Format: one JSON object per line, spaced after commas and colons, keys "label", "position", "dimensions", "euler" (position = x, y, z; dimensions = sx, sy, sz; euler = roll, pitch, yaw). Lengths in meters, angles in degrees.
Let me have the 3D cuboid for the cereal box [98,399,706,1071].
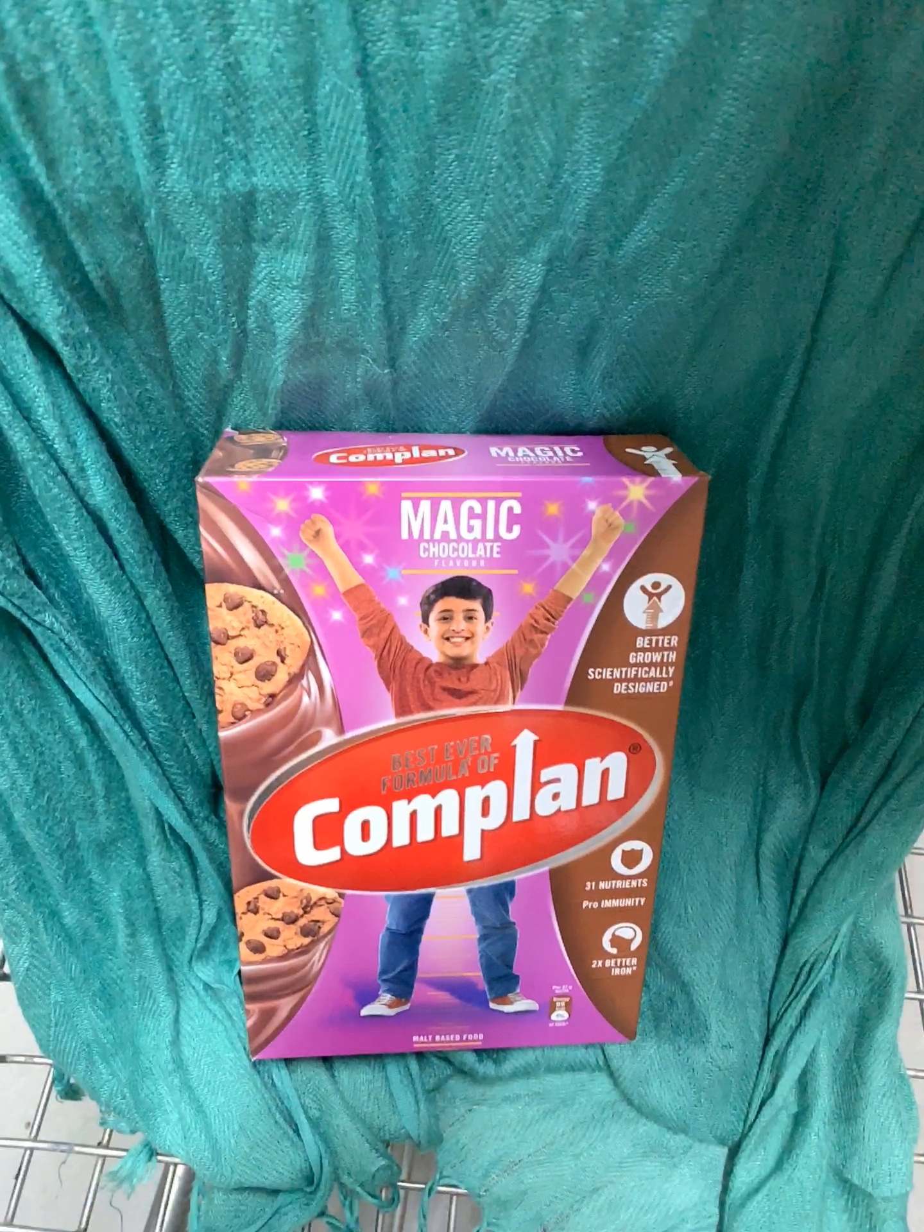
{"label": "cereal box", "position": [-0.016, 0.044, 0.315], "dimensions": [0.160, 0.220, 0.050], "euler": [-1, 22, -3]}
